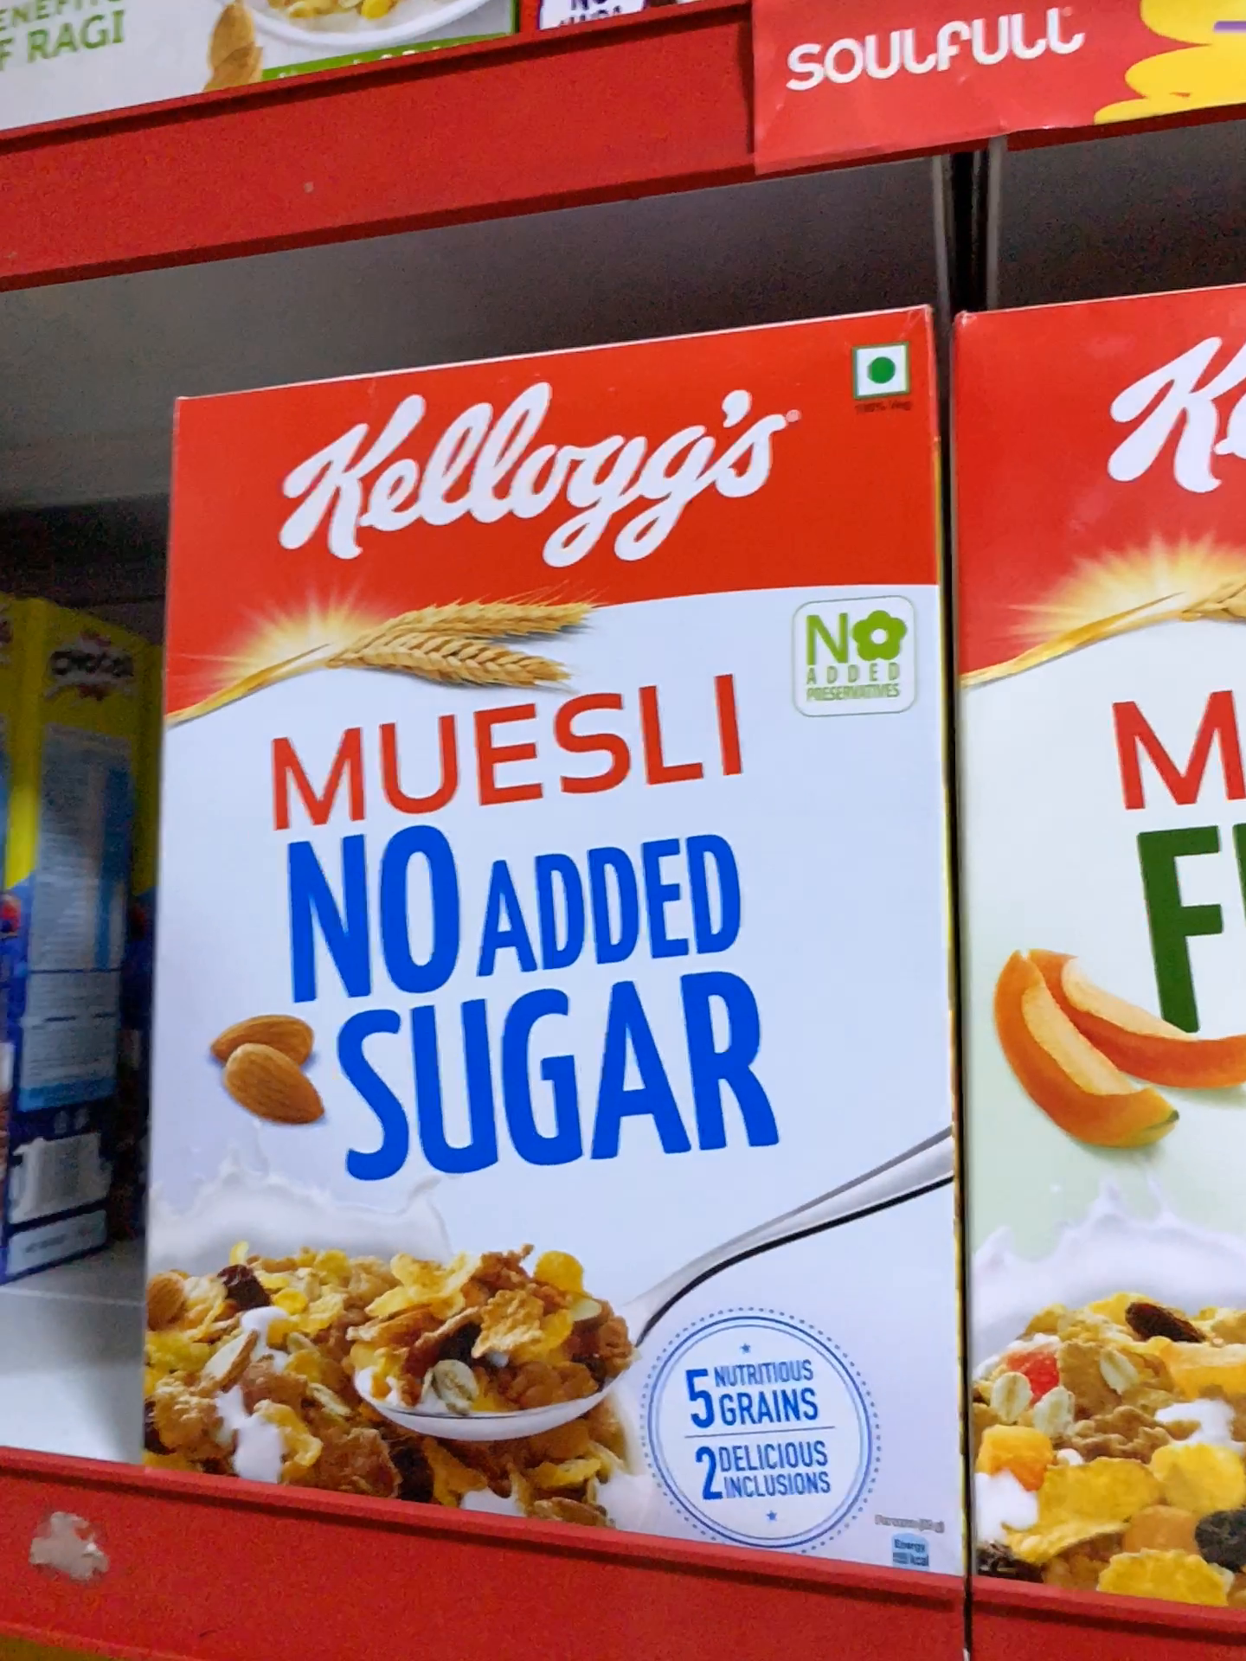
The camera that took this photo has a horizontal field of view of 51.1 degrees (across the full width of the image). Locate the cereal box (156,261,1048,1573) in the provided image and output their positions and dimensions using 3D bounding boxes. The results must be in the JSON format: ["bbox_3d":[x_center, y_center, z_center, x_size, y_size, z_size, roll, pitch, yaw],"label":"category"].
[{"bbox_3d":[-0.005,0.013,0.287,0.180,0.241,0.050,-1,-6,16],"label":"cereal box"}]
